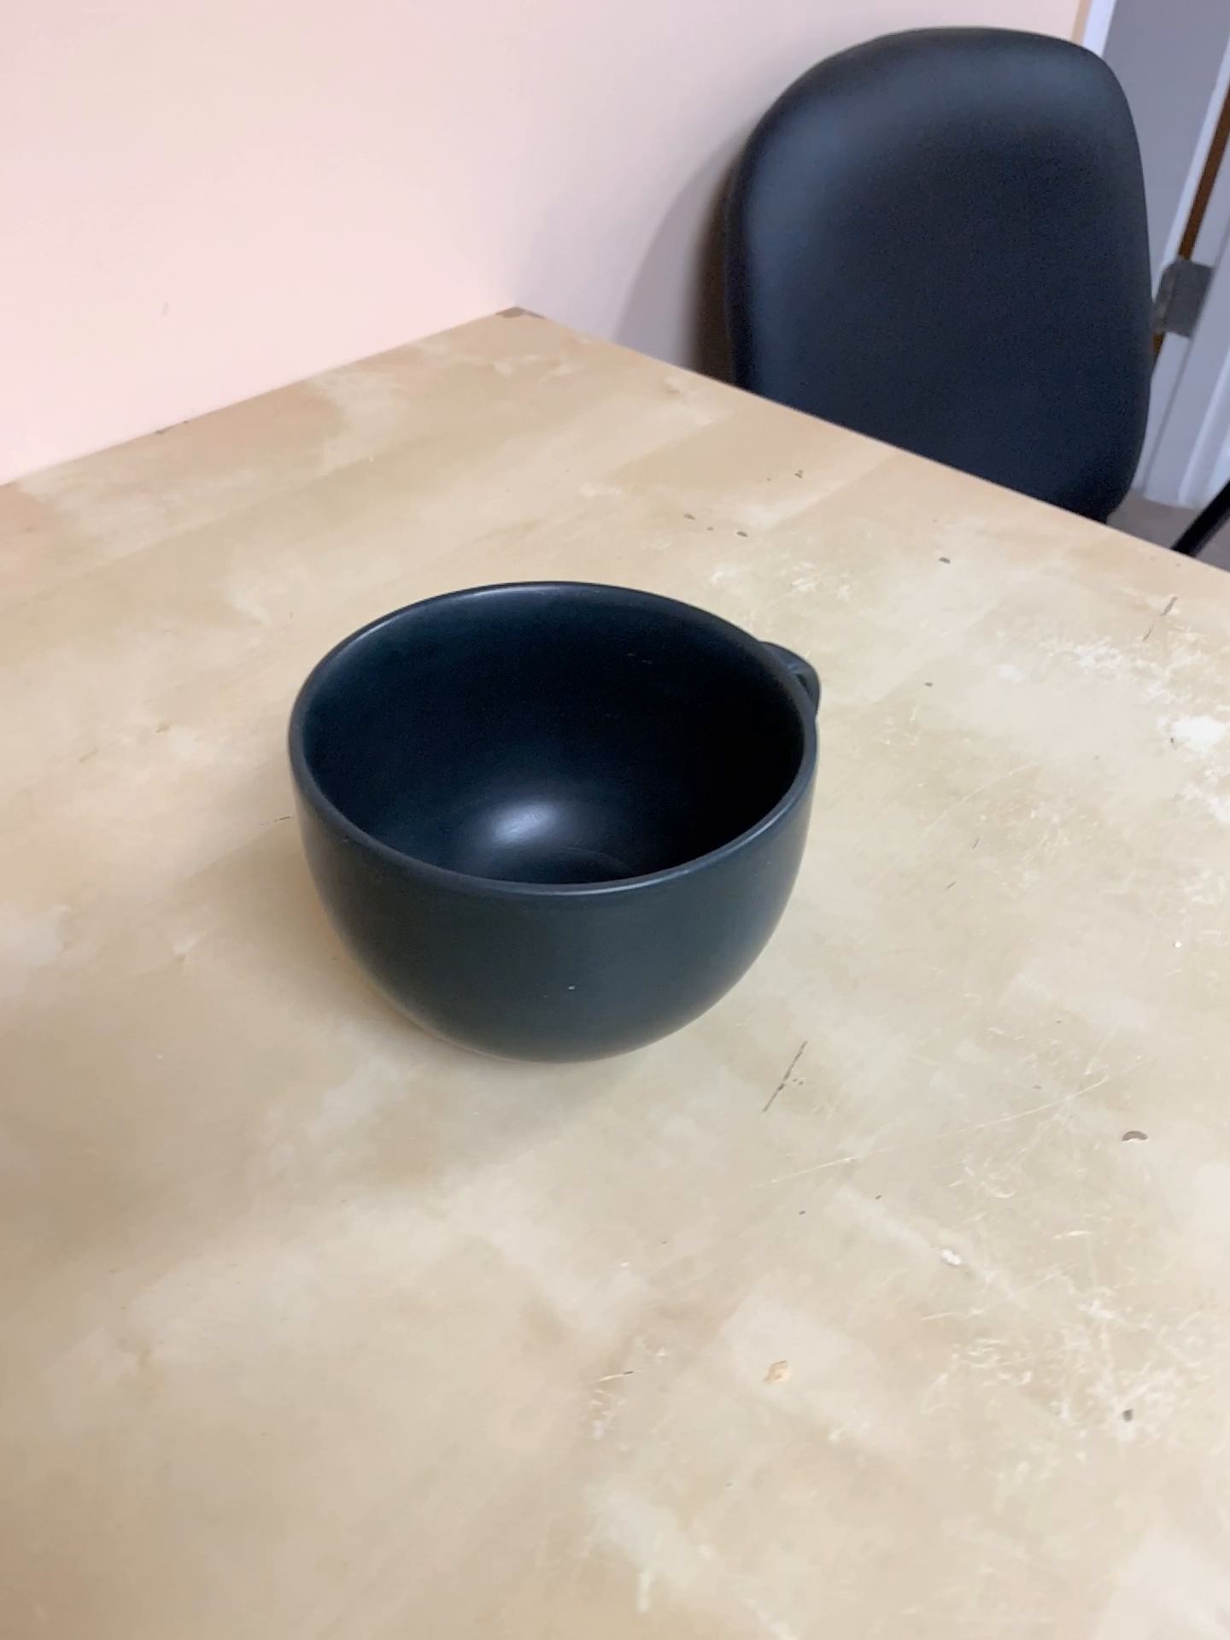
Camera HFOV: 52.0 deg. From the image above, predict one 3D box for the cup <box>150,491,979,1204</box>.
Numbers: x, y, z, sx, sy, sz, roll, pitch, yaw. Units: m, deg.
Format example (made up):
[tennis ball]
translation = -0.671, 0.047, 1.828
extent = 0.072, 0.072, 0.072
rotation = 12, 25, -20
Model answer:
[cup]
translation = -0.010, -0.009, 0.337
extent = 0.136, 0.068, 0.159
rotation = 32, 48, 29
